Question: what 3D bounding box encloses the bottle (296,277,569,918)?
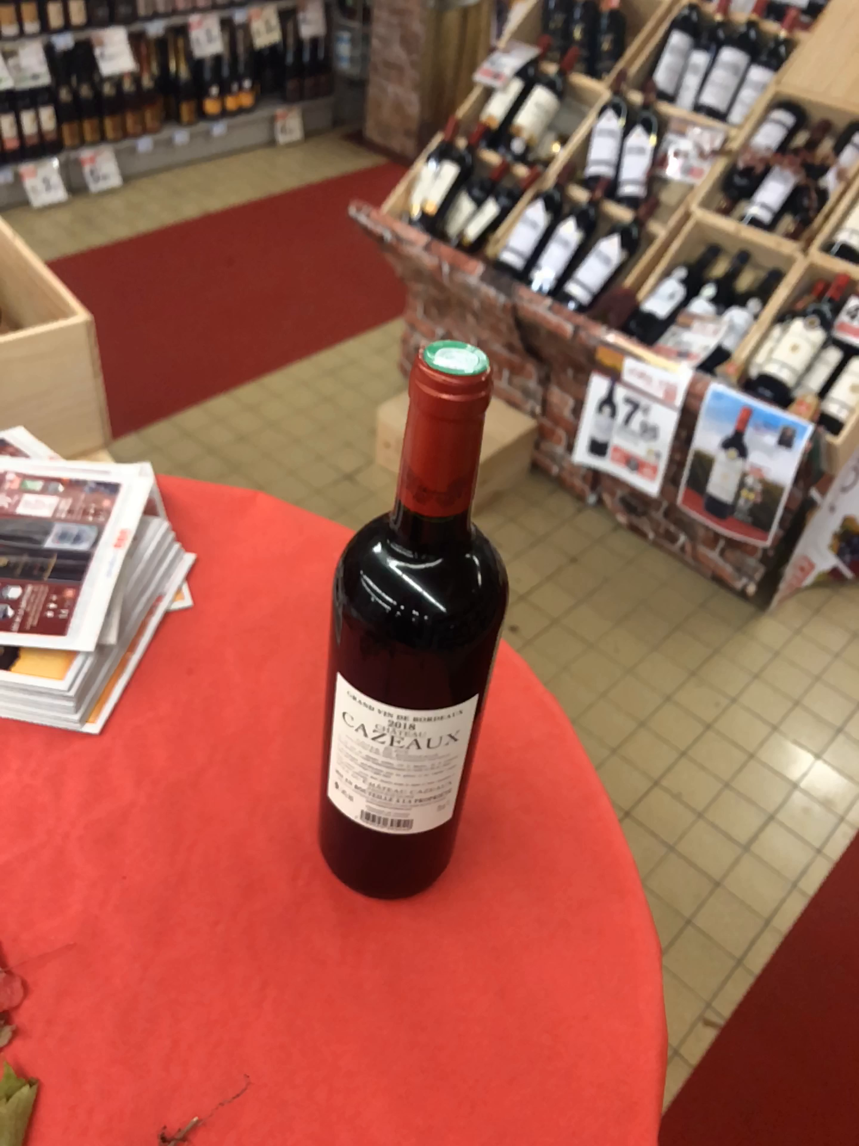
[{"bbox_3d":[-0.008,0.034,0.418,0.080,0.298,0.081,4,43,-4],"label":"bottle"}]
